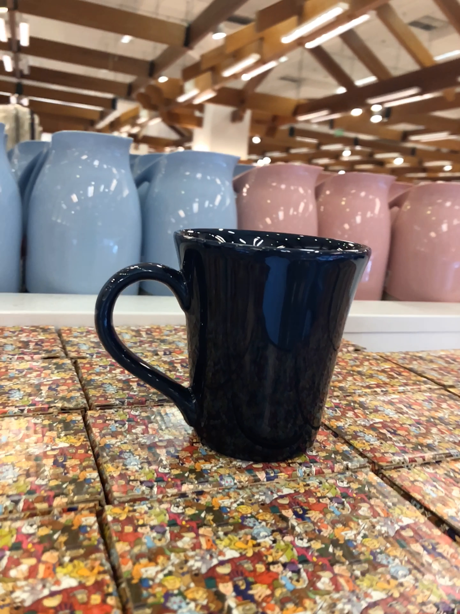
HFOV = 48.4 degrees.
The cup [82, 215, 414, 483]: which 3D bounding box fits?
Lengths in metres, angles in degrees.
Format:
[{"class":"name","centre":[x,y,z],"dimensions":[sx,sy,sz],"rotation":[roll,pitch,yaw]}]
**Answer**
[{"class":"cup","centre":[0.000,0.009,0.247],"dimensions":[0.120,0.090,0.100],"rotation":[0,12,-25]}]
